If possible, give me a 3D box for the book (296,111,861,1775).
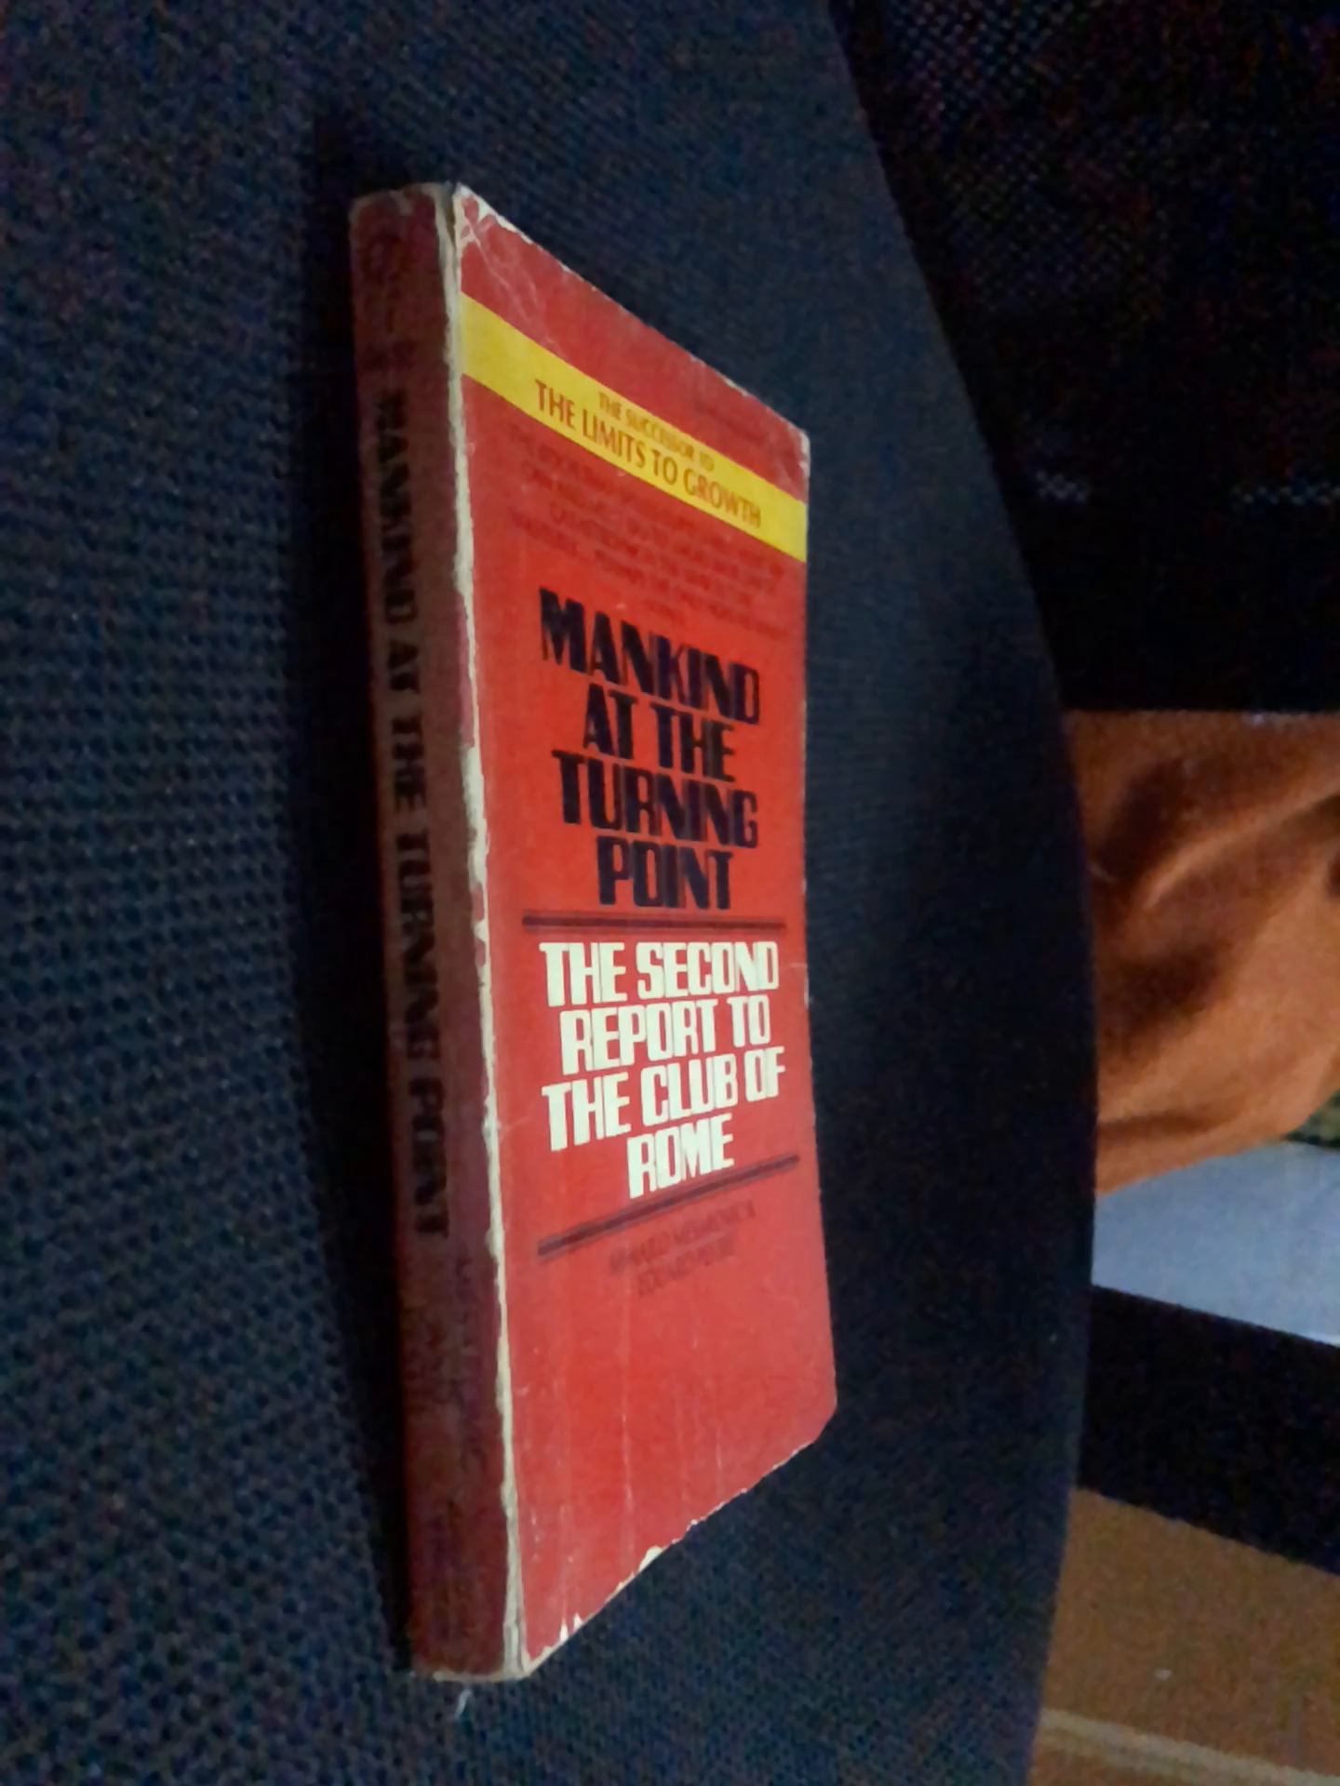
[{"bbox_3d":[-0.006,0.006,0.232,0.117,0.025,0.194,2,86,-62],"label":"book"}]
